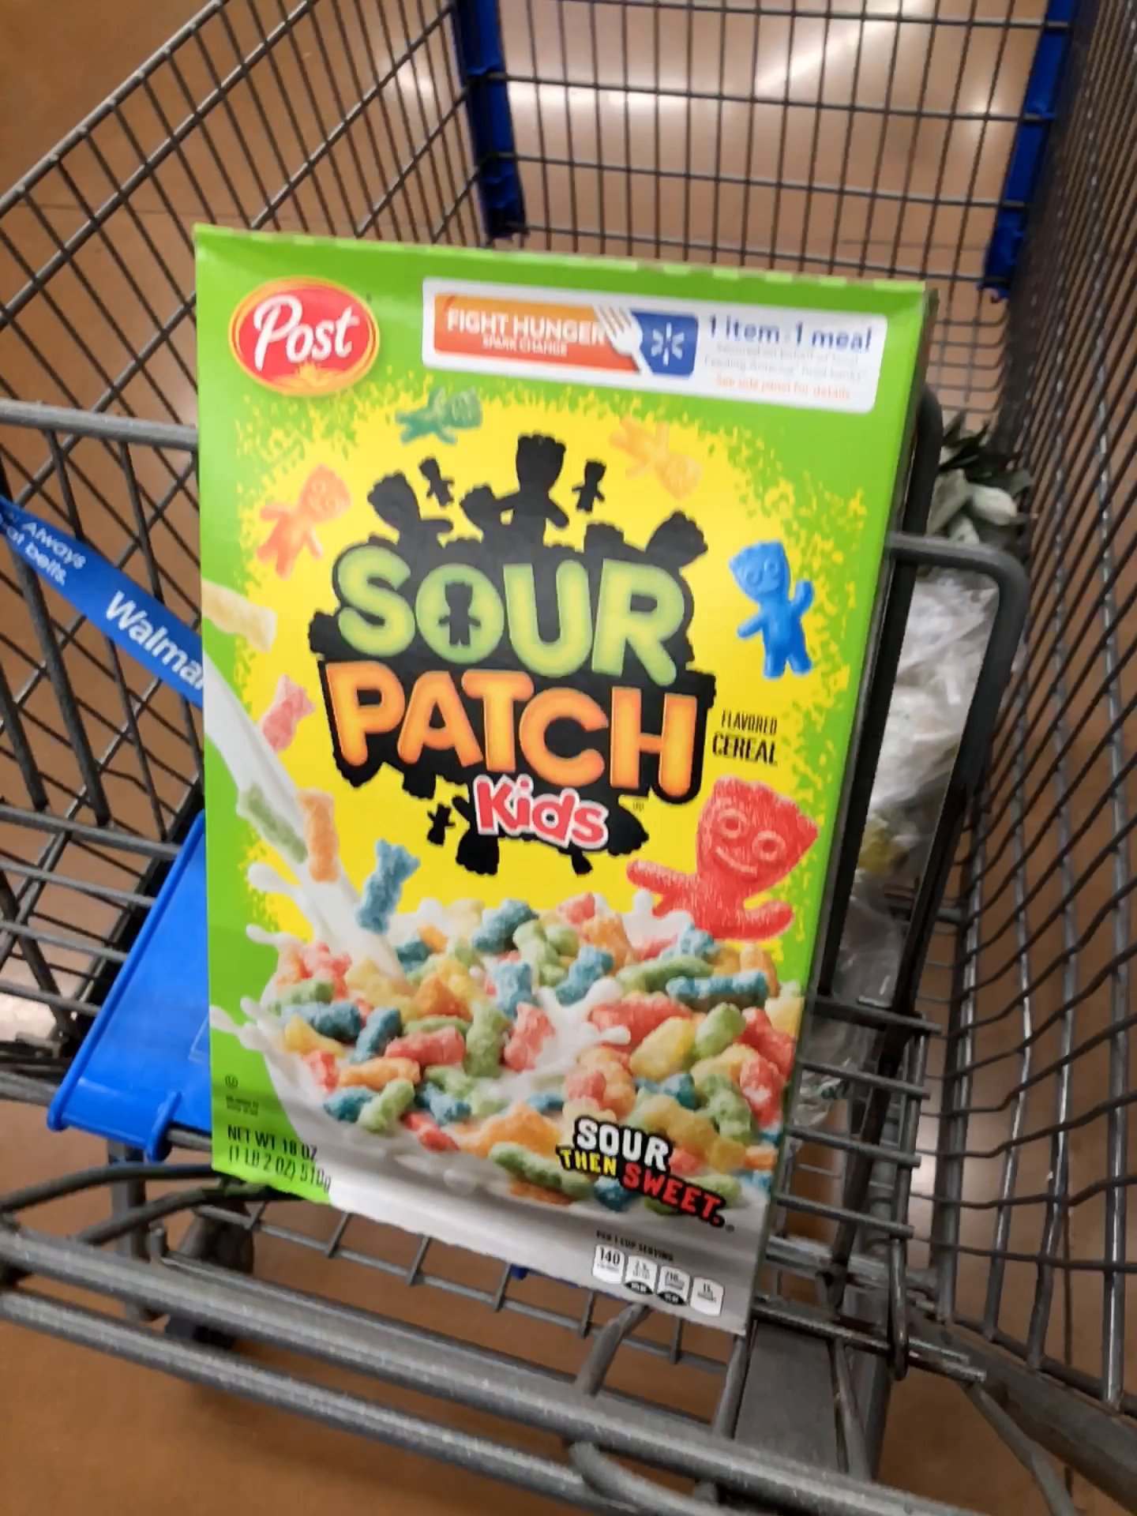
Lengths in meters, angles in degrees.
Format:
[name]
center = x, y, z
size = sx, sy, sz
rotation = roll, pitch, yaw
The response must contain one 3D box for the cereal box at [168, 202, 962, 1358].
[cereal box]
center = -0.010, 0.008, 0.397
size = 0.200, 0.320, 0.080
rotation = 11, 22, 15
